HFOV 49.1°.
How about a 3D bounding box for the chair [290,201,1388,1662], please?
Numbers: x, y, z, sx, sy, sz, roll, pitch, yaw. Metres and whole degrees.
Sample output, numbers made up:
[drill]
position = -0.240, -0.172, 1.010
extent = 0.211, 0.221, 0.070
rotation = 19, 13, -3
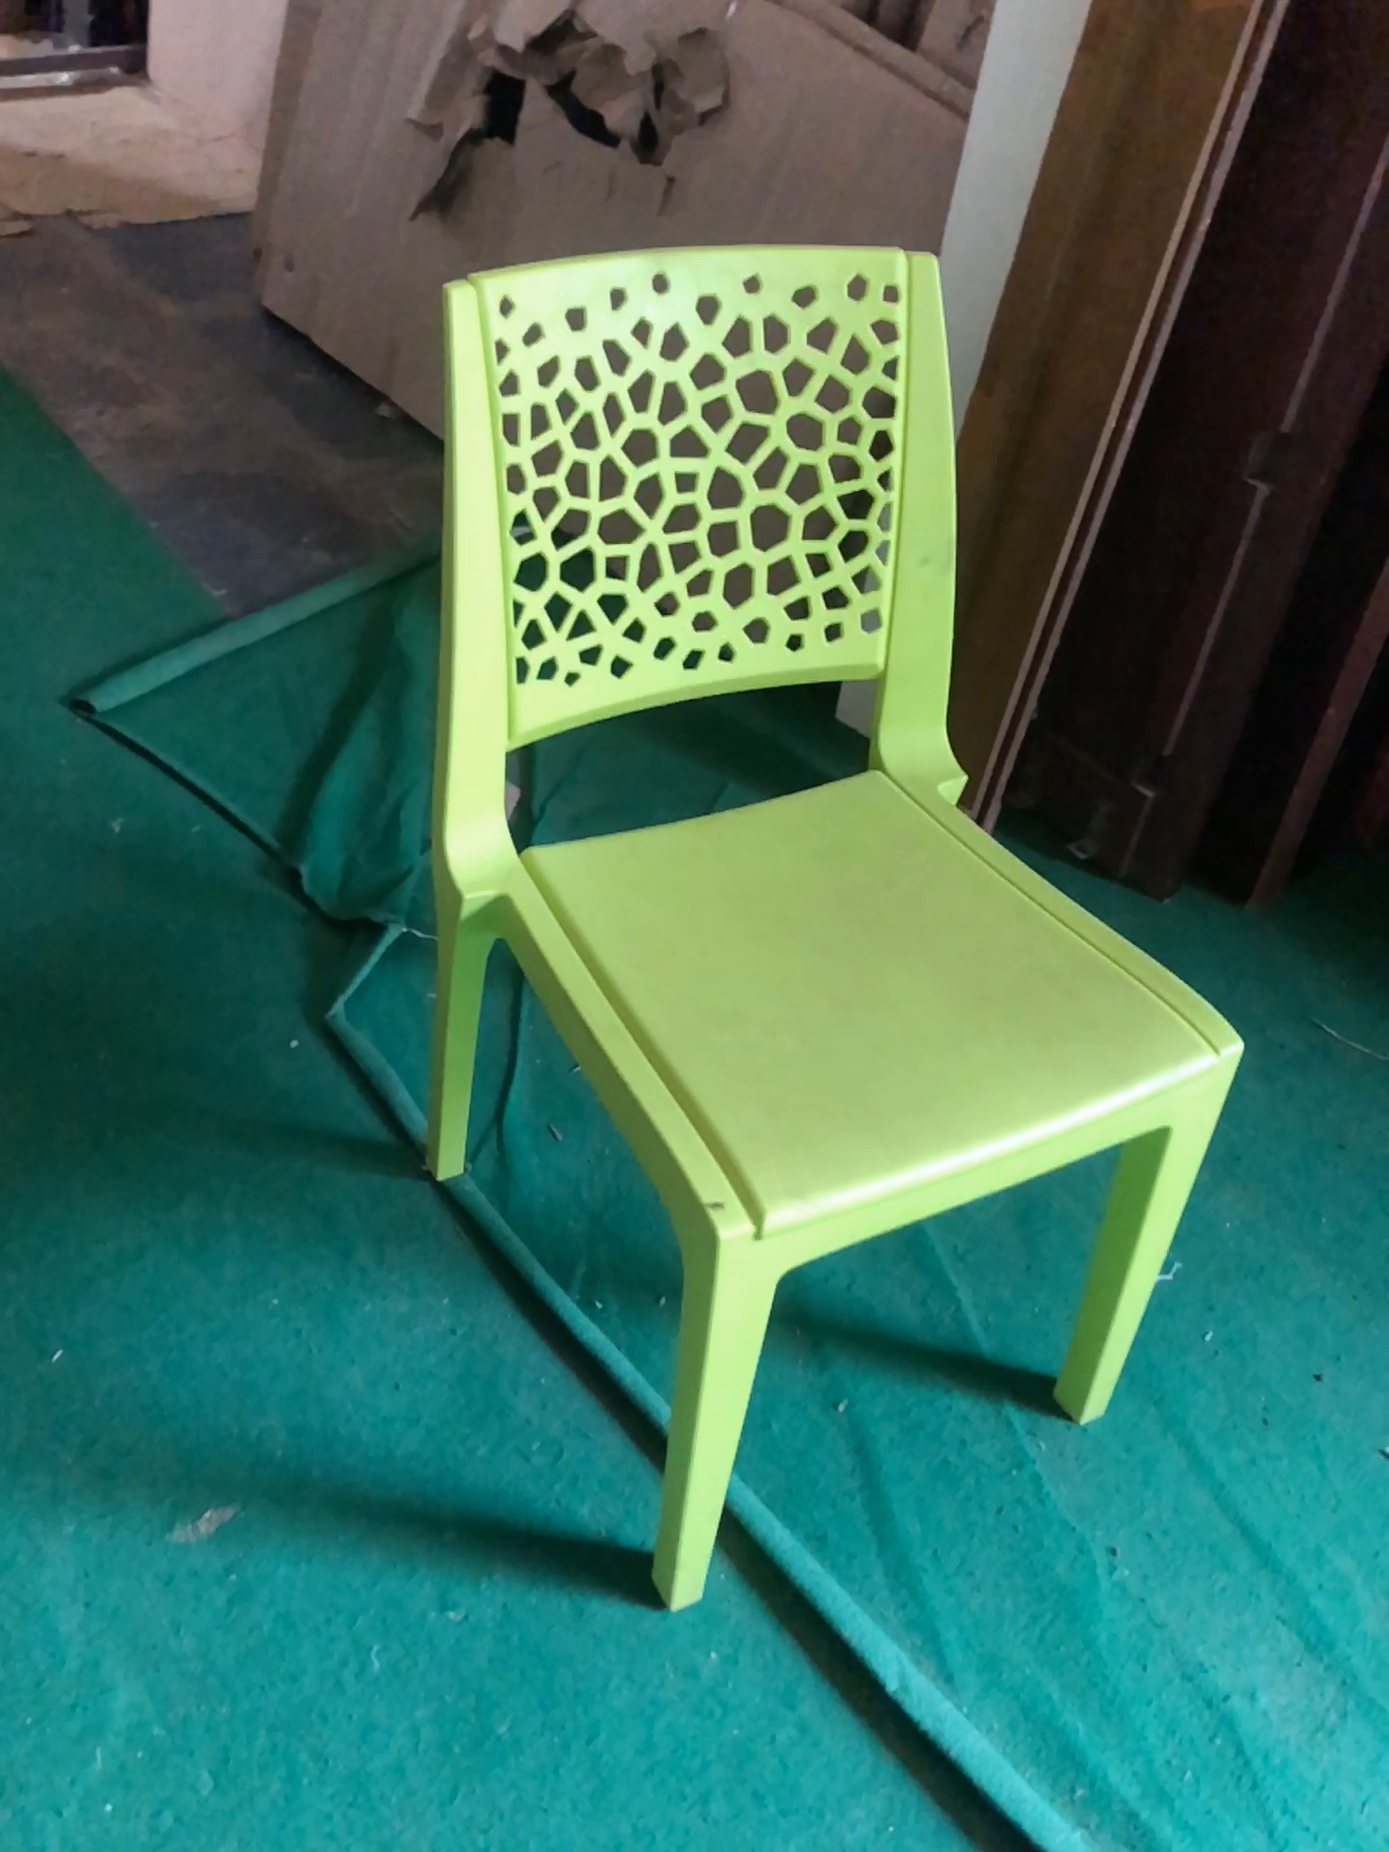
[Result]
[chair]
position = 0.083, -0.031, 1.152
extent = 0.531, 0.776, 0.642
rotation = -15, 43, -22
